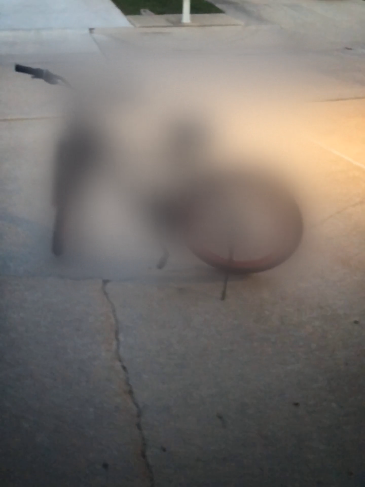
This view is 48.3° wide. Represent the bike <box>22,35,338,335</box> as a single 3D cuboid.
[{"bbox_3d":[-0.040,-0.392,2.128,1.426,1.032,0.600,18,37,21],"label":"bike"}]
